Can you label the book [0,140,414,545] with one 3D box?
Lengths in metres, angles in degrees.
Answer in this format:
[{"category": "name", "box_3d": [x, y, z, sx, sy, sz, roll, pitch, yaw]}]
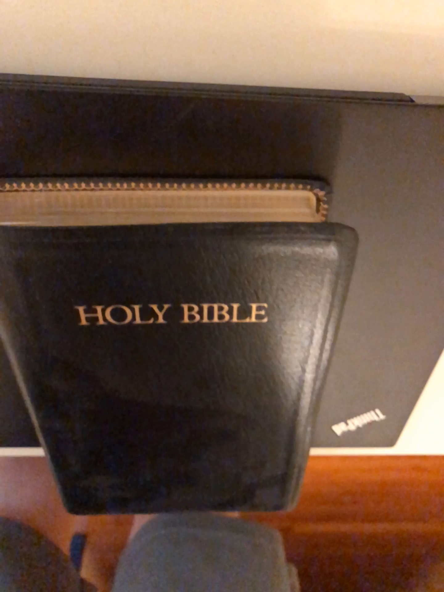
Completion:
[{"category": "book", "box_3d": [-0.025, 0.047, 0.252, 0.170, 0.040, 0.241, 0, 129, -3]}]
